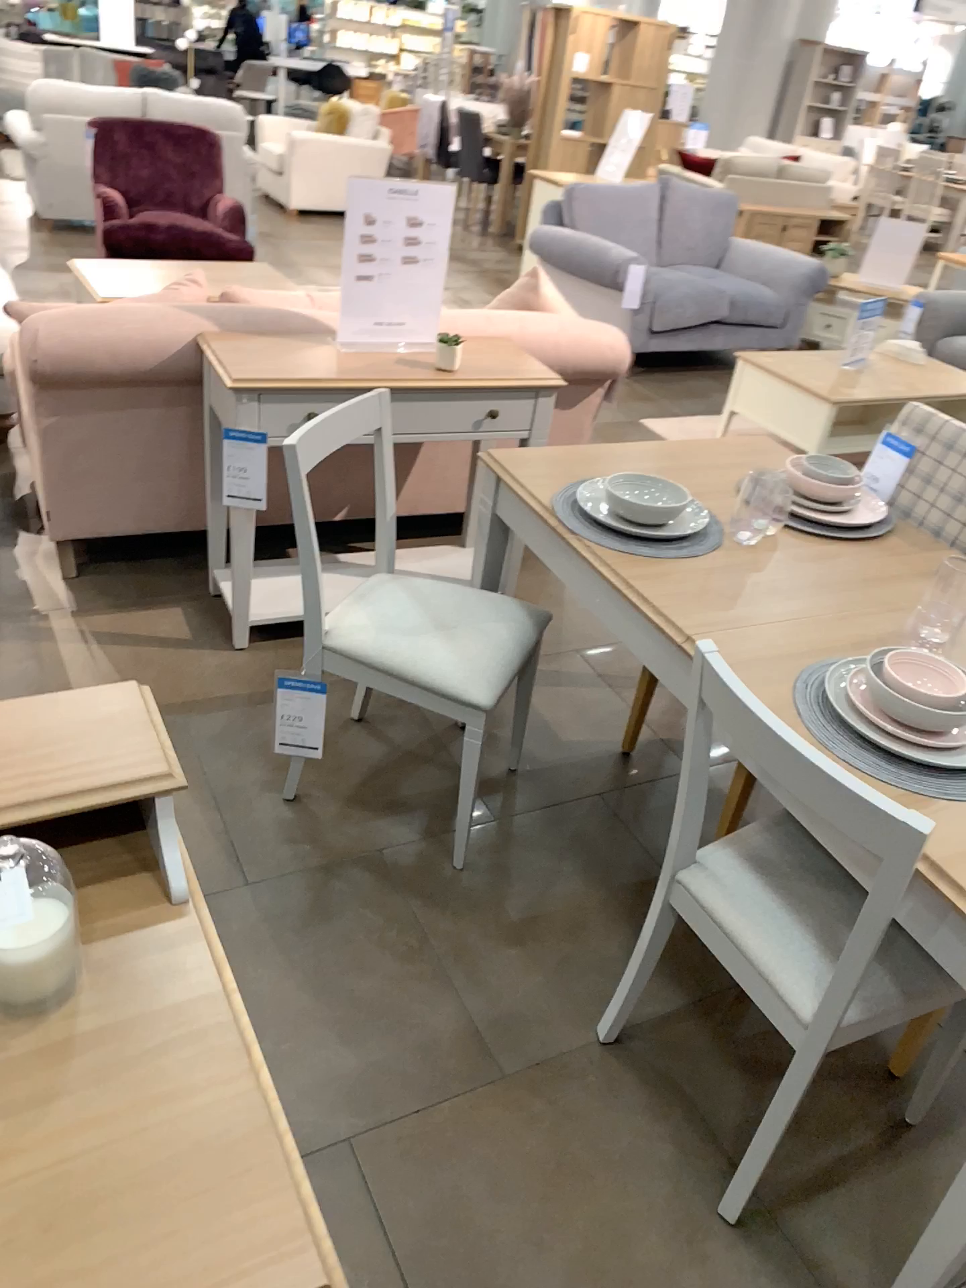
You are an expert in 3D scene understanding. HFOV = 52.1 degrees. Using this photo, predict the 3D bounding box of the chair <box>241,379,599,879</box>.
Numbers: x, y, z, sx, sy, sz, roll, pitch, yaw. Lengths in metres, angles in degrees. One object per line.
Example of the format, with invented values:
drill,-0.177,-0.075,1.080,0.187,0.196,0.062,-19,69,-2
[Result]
chair,-0.148,-0.042,2.091,0.535,0.817,0.464,17,32,13

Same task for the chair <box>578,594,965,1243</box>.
chair,0.566,0.414,1.574,0.535,0.817,0.433,-9,36,-28
